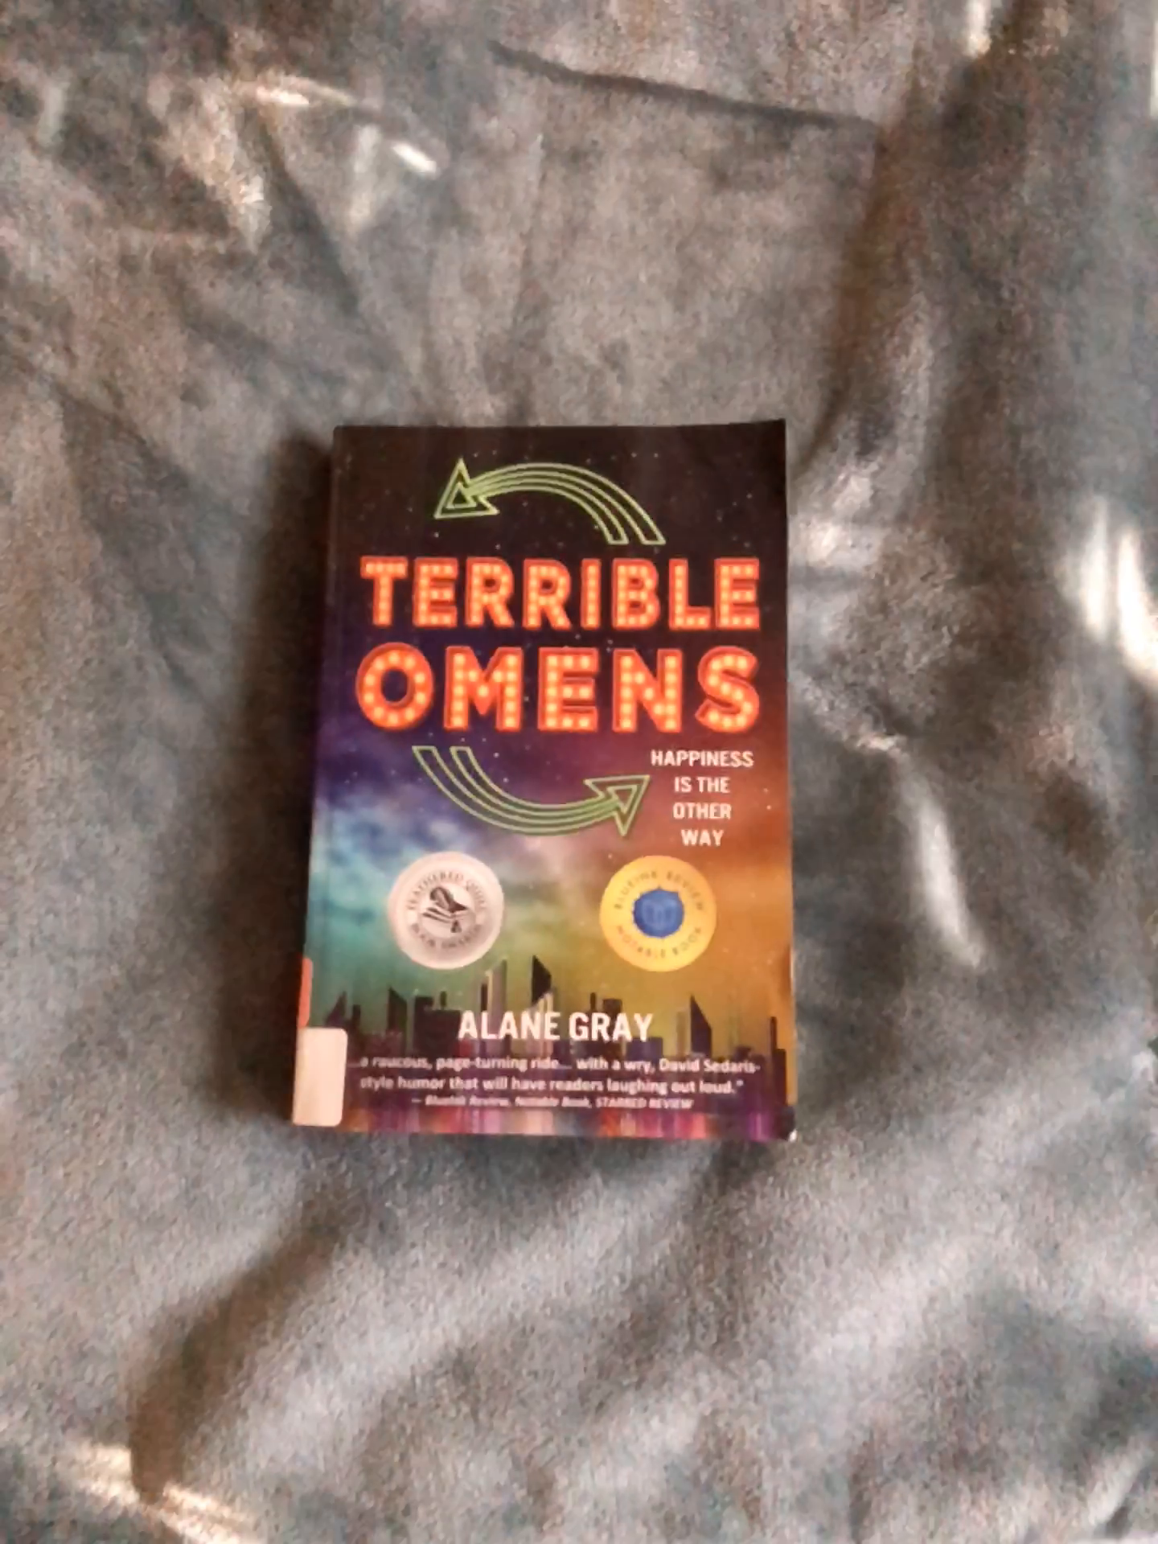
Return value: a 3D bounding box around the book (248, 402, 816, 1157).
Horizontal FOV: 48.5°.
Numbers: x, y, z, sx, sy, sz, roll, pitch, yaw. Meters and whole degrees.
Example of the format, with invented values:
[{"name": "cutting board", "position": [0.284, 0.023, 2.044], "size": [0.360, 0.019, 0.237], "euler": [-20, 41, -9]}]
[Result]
[{"name": "book", "position": [-0.010, -0.001, 0.350], "size": [0.140, 0.028, 0.200], "euler": [1, 79, 0]}]
